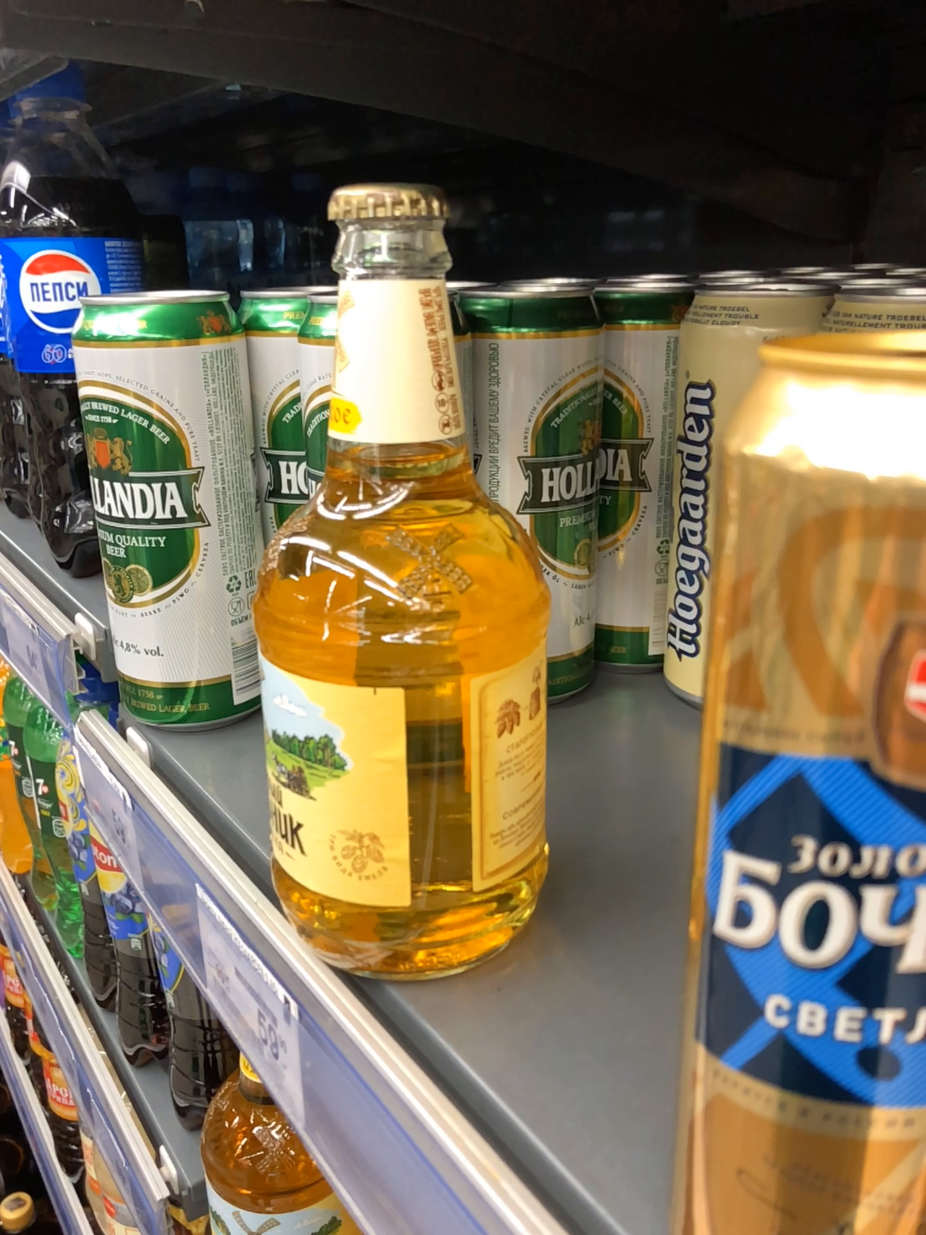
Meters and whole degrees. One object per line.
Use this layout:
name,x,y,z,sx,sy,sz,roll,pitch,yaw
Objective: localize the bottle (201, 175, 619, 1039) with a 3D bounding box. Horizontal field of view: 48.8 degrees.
bottle,-0.016,-0.007,0.266,0.080,0.193,0.090,-5,19,-11
